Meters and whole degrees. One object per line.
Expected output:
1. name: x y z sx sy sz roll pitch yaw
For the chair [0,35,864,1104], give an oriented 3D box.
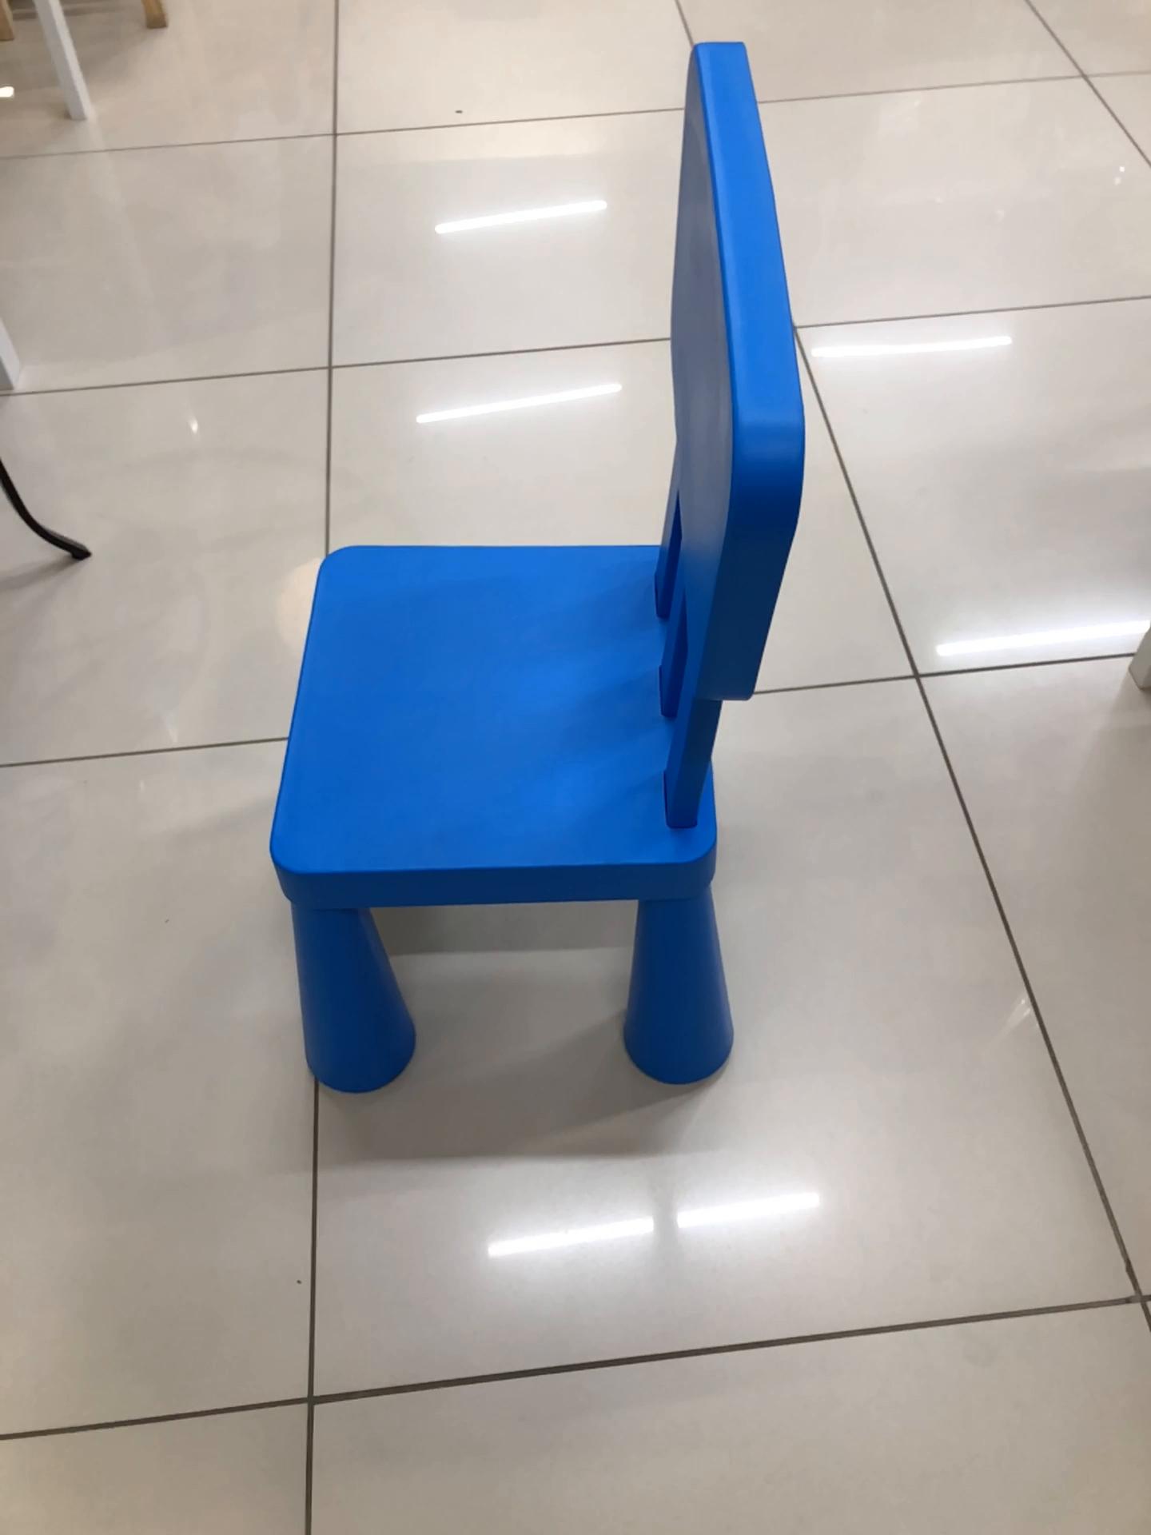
1. chair: -0.052 -0.069 0.874 0.355 0.666 0.357 -1 53 2
